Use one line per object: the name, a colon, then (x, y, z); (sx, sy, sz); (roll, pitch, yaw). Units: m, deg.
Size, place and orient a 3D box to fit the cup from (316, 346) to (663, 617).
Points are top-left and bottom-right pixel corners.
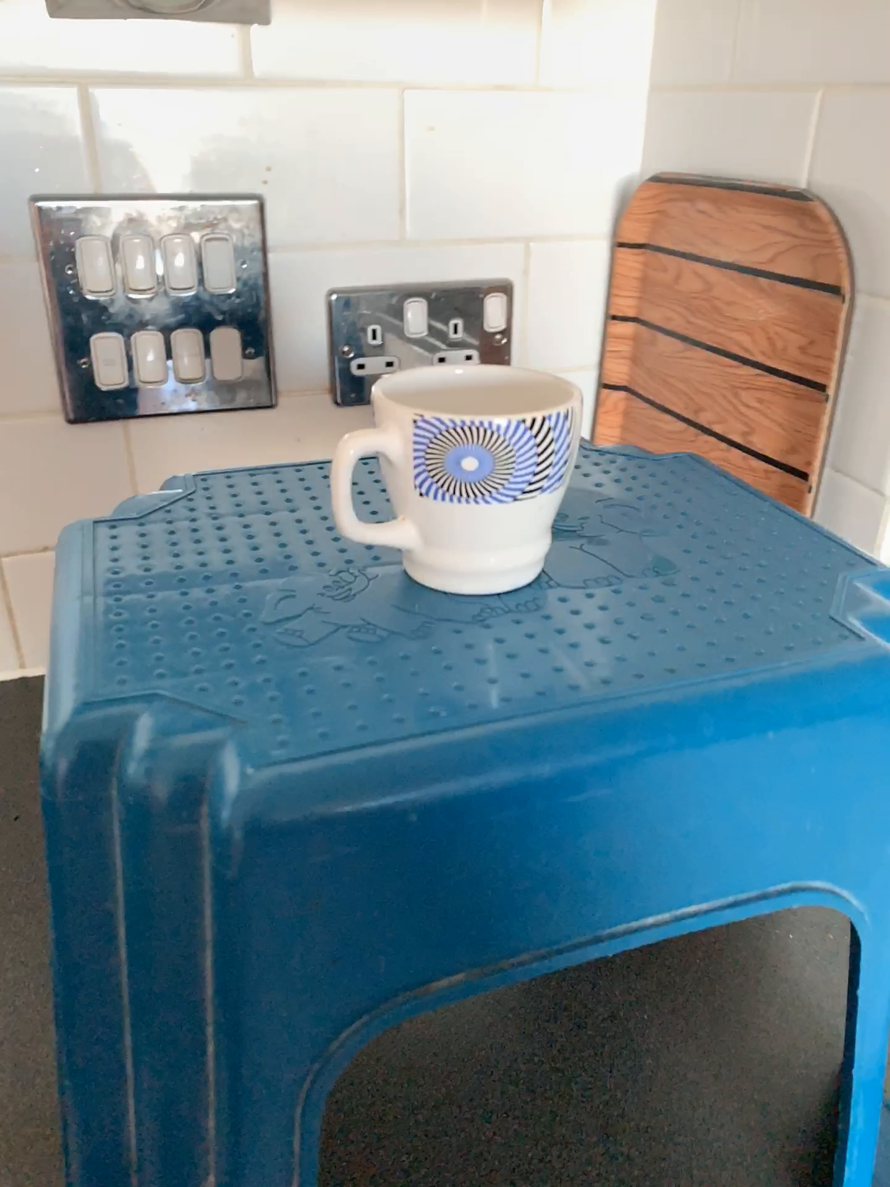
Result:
cup: (0.009, -0.041, 0.292); (0.085, 0.055, 0.079); (1, 27, 0)
